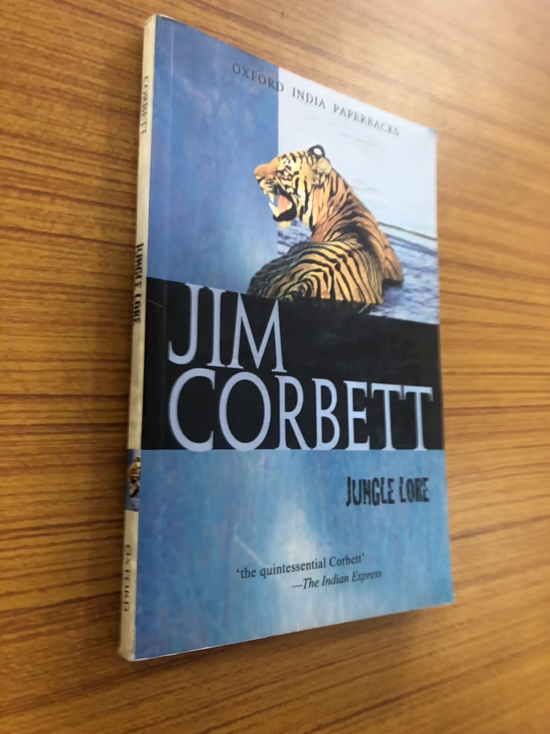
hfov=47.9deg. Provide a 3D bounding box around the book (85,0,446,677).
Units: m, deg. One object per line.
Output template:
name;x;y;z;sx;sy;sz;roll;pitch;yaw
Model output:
book;0.008;-0.012;0.240;0.151;0.010;0.220;5;82;-33
